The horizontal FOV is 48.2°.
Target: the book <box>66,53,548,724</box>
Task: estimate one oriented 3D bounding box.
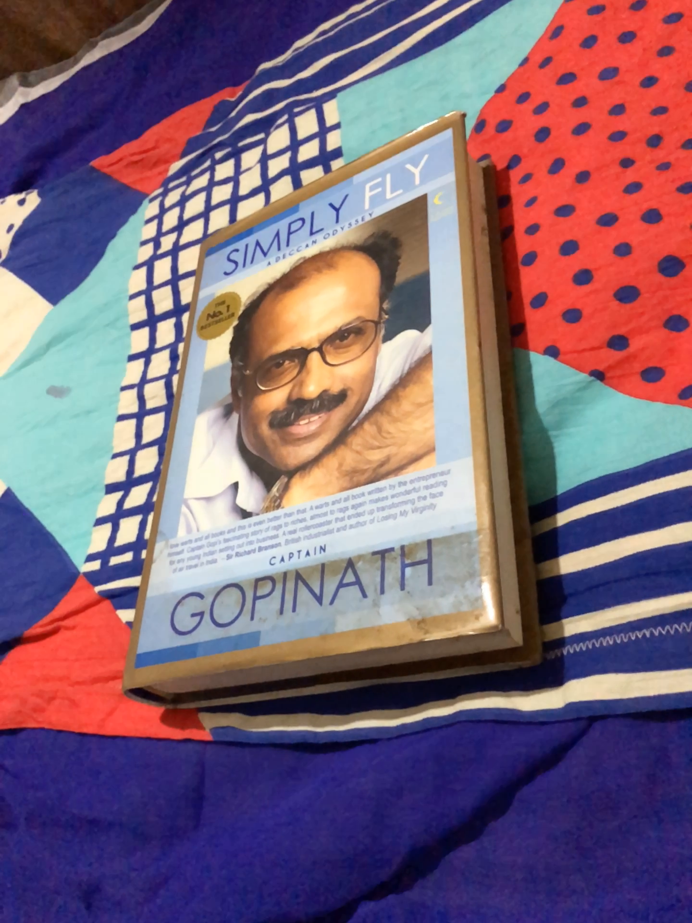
[{"bbox_3d":[-0.017,-0.033,0.319,0.160,0.050,0.250,-16,57,27],"label":"book"}]
